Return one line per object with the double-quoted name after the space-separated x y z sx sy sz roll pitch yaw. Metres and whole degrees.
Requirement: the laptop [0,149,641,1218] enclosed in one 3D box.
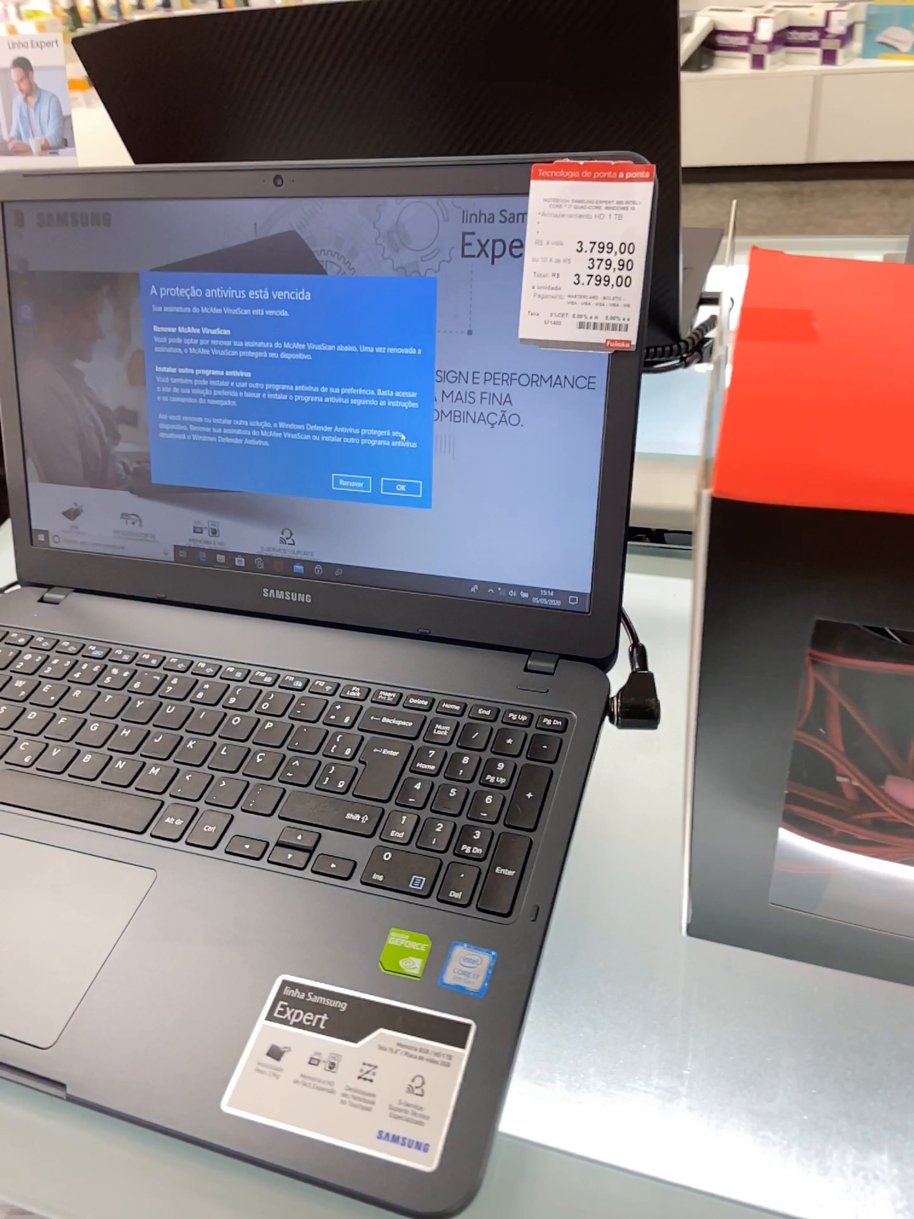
-0.135 -0.028 0.418 0.370 0.207 0.373 7 43 17 "laptop"
